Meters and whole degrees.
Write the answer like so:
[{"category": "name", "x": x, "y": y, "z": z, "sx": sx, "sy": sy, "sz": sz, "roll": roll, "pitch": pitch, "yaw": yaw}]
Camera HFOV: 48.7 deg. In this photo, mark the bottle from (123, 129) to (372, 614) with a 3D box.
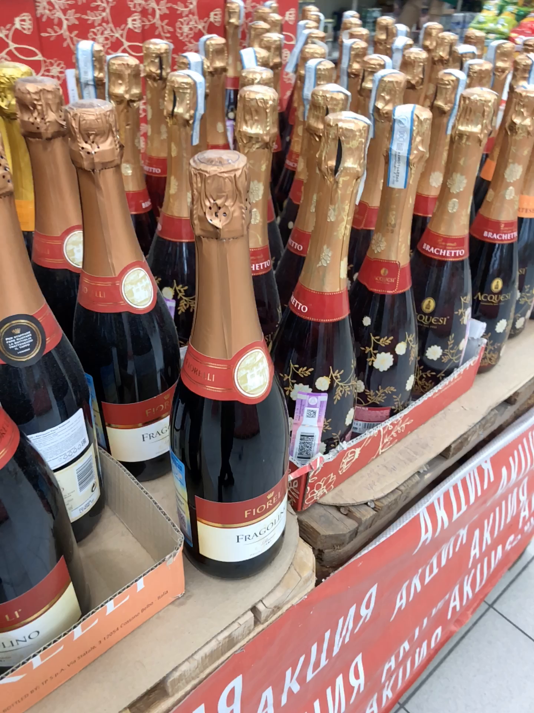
[{"category": "bottle", "x": -0.017, "y": 0.023, "z": 0.386, "sx": 0.090, "sy": 0.298, "sz": 0.090, "roll": 2, "pitch": 35, "yaw": -2}]
